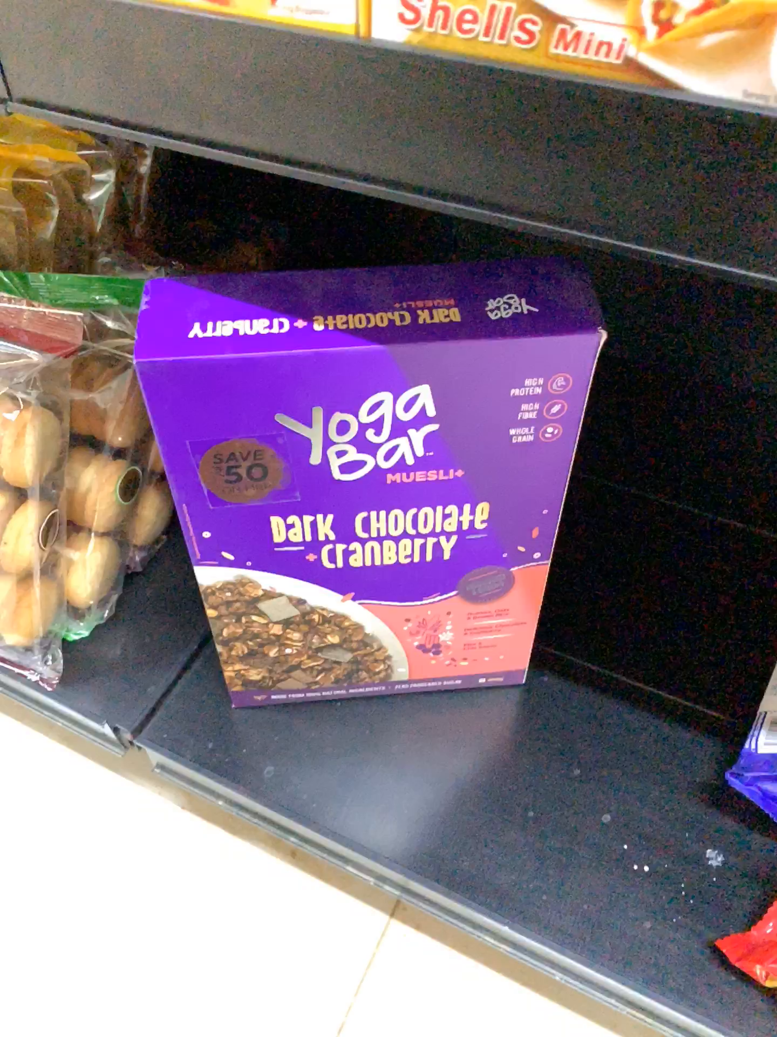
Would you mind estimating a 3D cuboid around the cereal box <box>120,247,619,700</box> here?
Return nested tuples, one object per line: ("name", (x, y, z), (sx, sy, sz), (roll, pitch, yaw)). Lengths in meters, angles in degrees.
("cereal box", (-0.008, -0.004, 0.372), (0.170, 0.228, 0.050), (-2, 46, -3))
